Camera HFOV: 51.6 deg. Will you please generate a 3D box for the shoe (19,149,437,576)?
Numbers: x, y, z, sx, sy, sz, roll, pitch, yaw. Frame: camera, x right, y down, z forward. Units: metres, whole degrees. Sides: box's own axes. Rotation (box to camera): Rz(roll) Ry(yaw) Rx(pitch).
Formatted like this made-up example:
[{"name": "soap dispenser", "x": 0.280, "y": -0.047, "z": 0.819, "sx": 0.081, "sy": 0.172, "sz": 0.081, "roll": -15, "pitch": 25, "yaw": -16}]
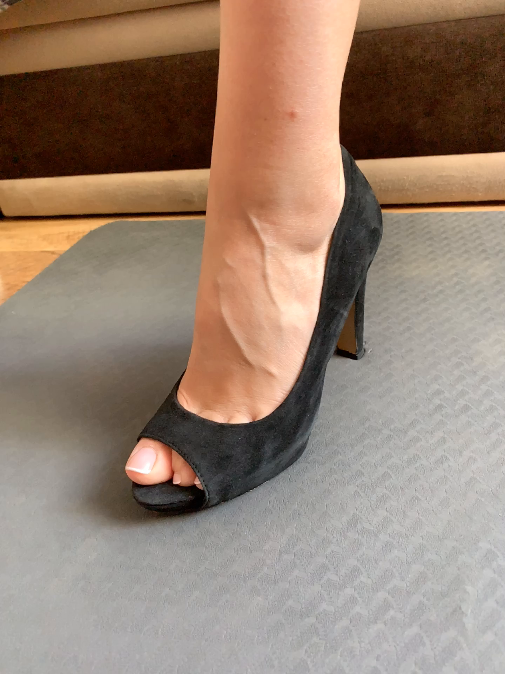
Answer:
[{"name": "shoe", "x": 0.008, "y": -0.005, "z": 0.304, "sx": 0.090, "sy": 0.139, "sz": 0.210, "roll": 24, "pitch": 45, "yaw": 39}]
